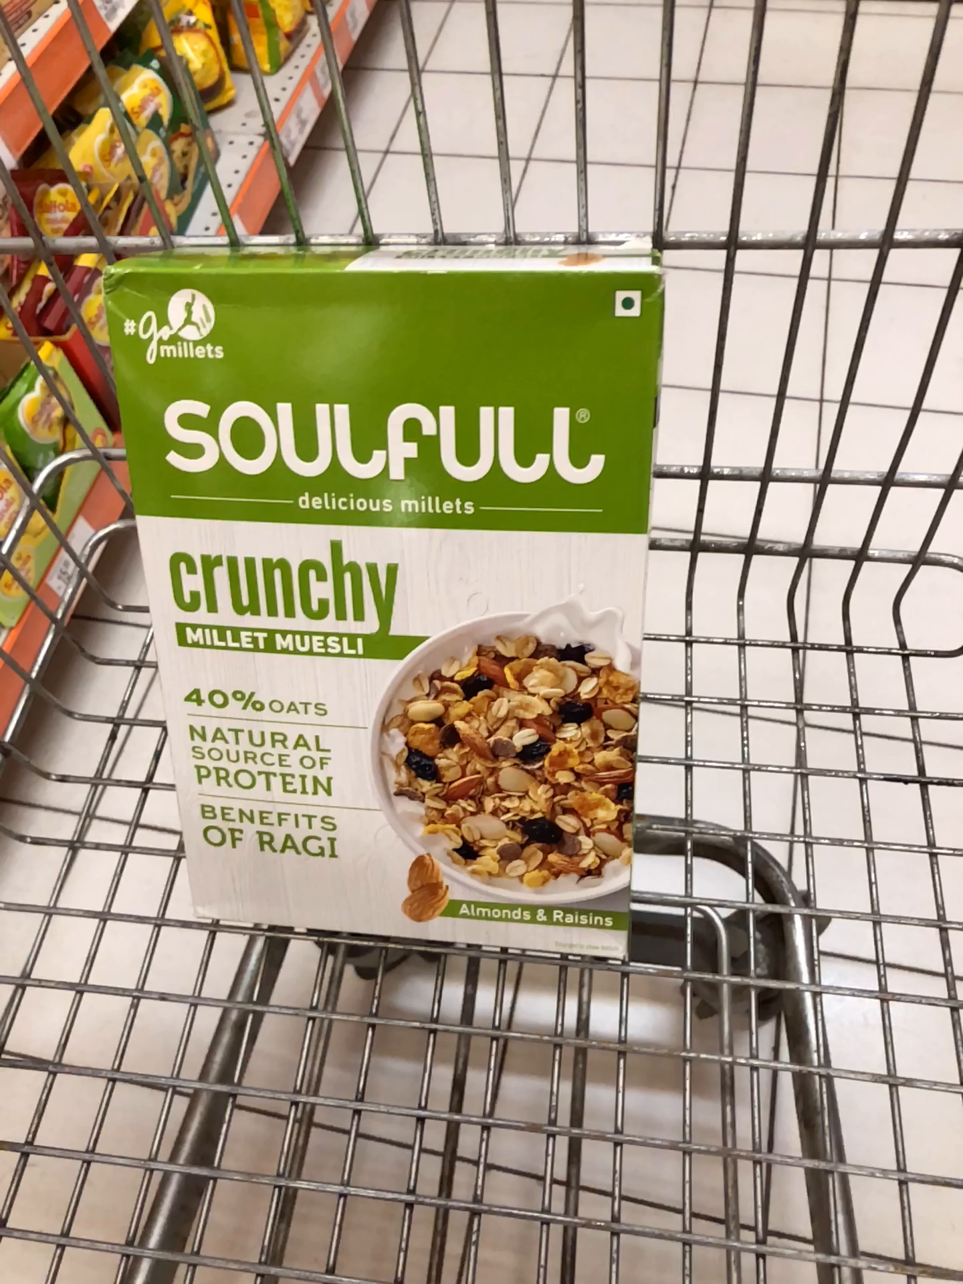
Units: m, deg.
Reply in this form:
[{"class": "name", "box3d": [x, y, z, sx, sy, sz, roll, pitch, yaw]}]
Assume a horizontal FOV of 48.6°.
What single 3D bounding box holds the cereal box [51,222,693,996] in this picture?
[{"class": "cereal box", "box3d": [-0.026, -0.010, 0.355, 0.170, 0.239, 0.070, 3, 24, 8]}]
